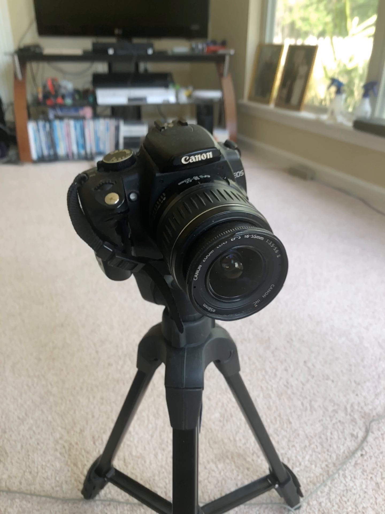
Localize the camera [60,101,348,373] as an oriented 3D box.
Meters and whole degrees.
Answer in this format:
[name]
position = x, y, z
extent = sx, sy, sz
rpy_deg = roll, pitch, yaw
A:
[camera]
position = -0.002, -0.027, 0.287
extent = 0.130, 0.093, 0.143
rpy_deg = -16, 36, -14
